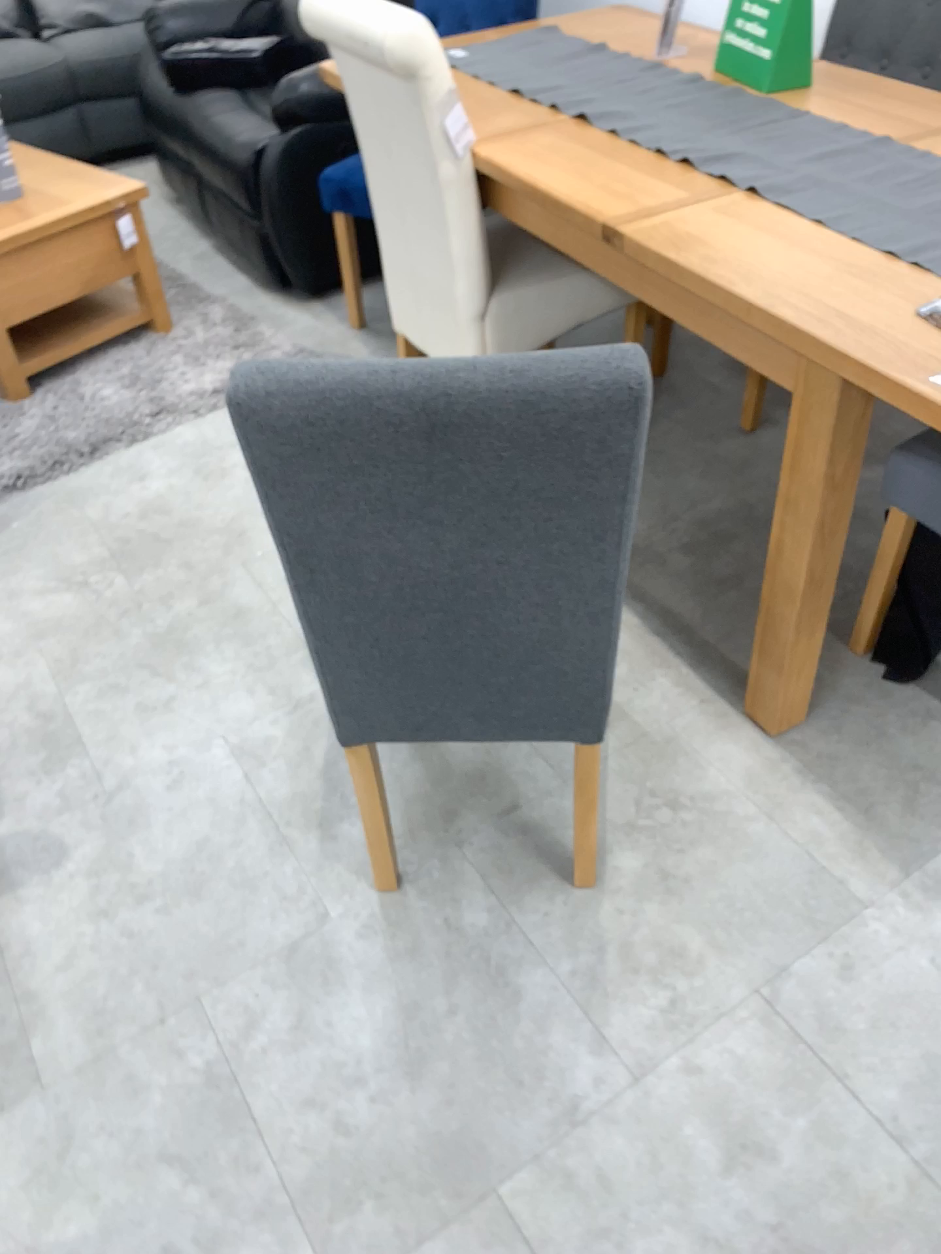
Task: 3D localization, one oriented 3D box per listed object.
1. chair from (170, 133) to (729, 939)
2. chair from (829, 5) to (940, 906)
[{"bbox_3d":[0.014,-0.096,1.284,0.444,0.830,0.648,-1,43,4],"label":"chair"},{"bbox_3d":[0.987,-0.225,1.302,0.505,0.899,0.627,-24,46,-20],"label":"chair"}]
